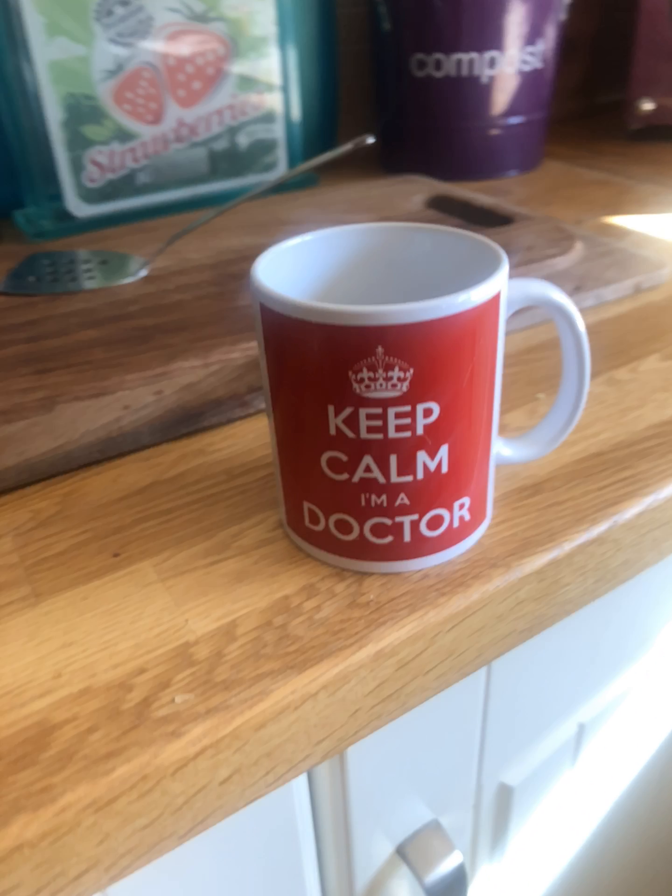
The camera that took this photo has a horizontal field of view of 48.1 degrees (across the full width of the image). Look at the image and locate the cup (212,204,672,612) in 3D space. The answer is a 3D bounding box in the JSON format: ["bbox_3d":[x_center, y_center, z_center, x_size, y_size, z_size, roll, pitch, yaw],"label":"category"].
[{"bbox_3d":[0.032,-0.023,0.270,0.123,0.094,0.090,-14,30,-15],"label":"cup"}]
